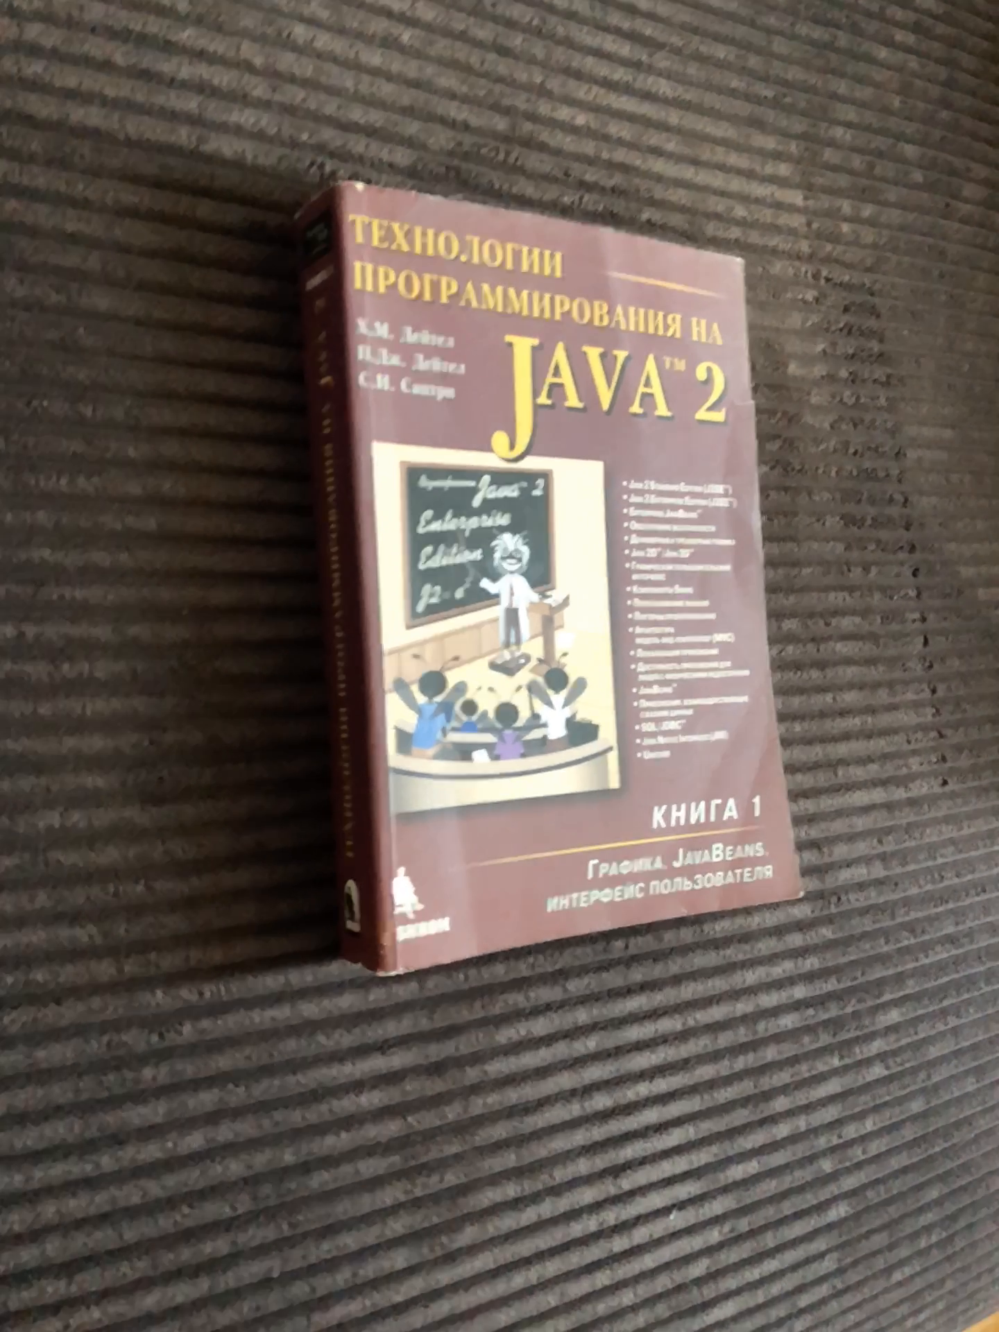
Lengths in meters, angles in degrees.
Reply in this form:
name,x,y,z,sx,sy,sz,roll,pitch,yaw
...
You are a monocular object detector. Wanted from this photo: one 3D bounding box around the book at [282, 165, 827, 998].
name,x,y,z,sx,sy,sz,roll,pitch,yaw
book,0.023,-0.029,0.376,0.166,0.050,0.240,-3,86,-31
